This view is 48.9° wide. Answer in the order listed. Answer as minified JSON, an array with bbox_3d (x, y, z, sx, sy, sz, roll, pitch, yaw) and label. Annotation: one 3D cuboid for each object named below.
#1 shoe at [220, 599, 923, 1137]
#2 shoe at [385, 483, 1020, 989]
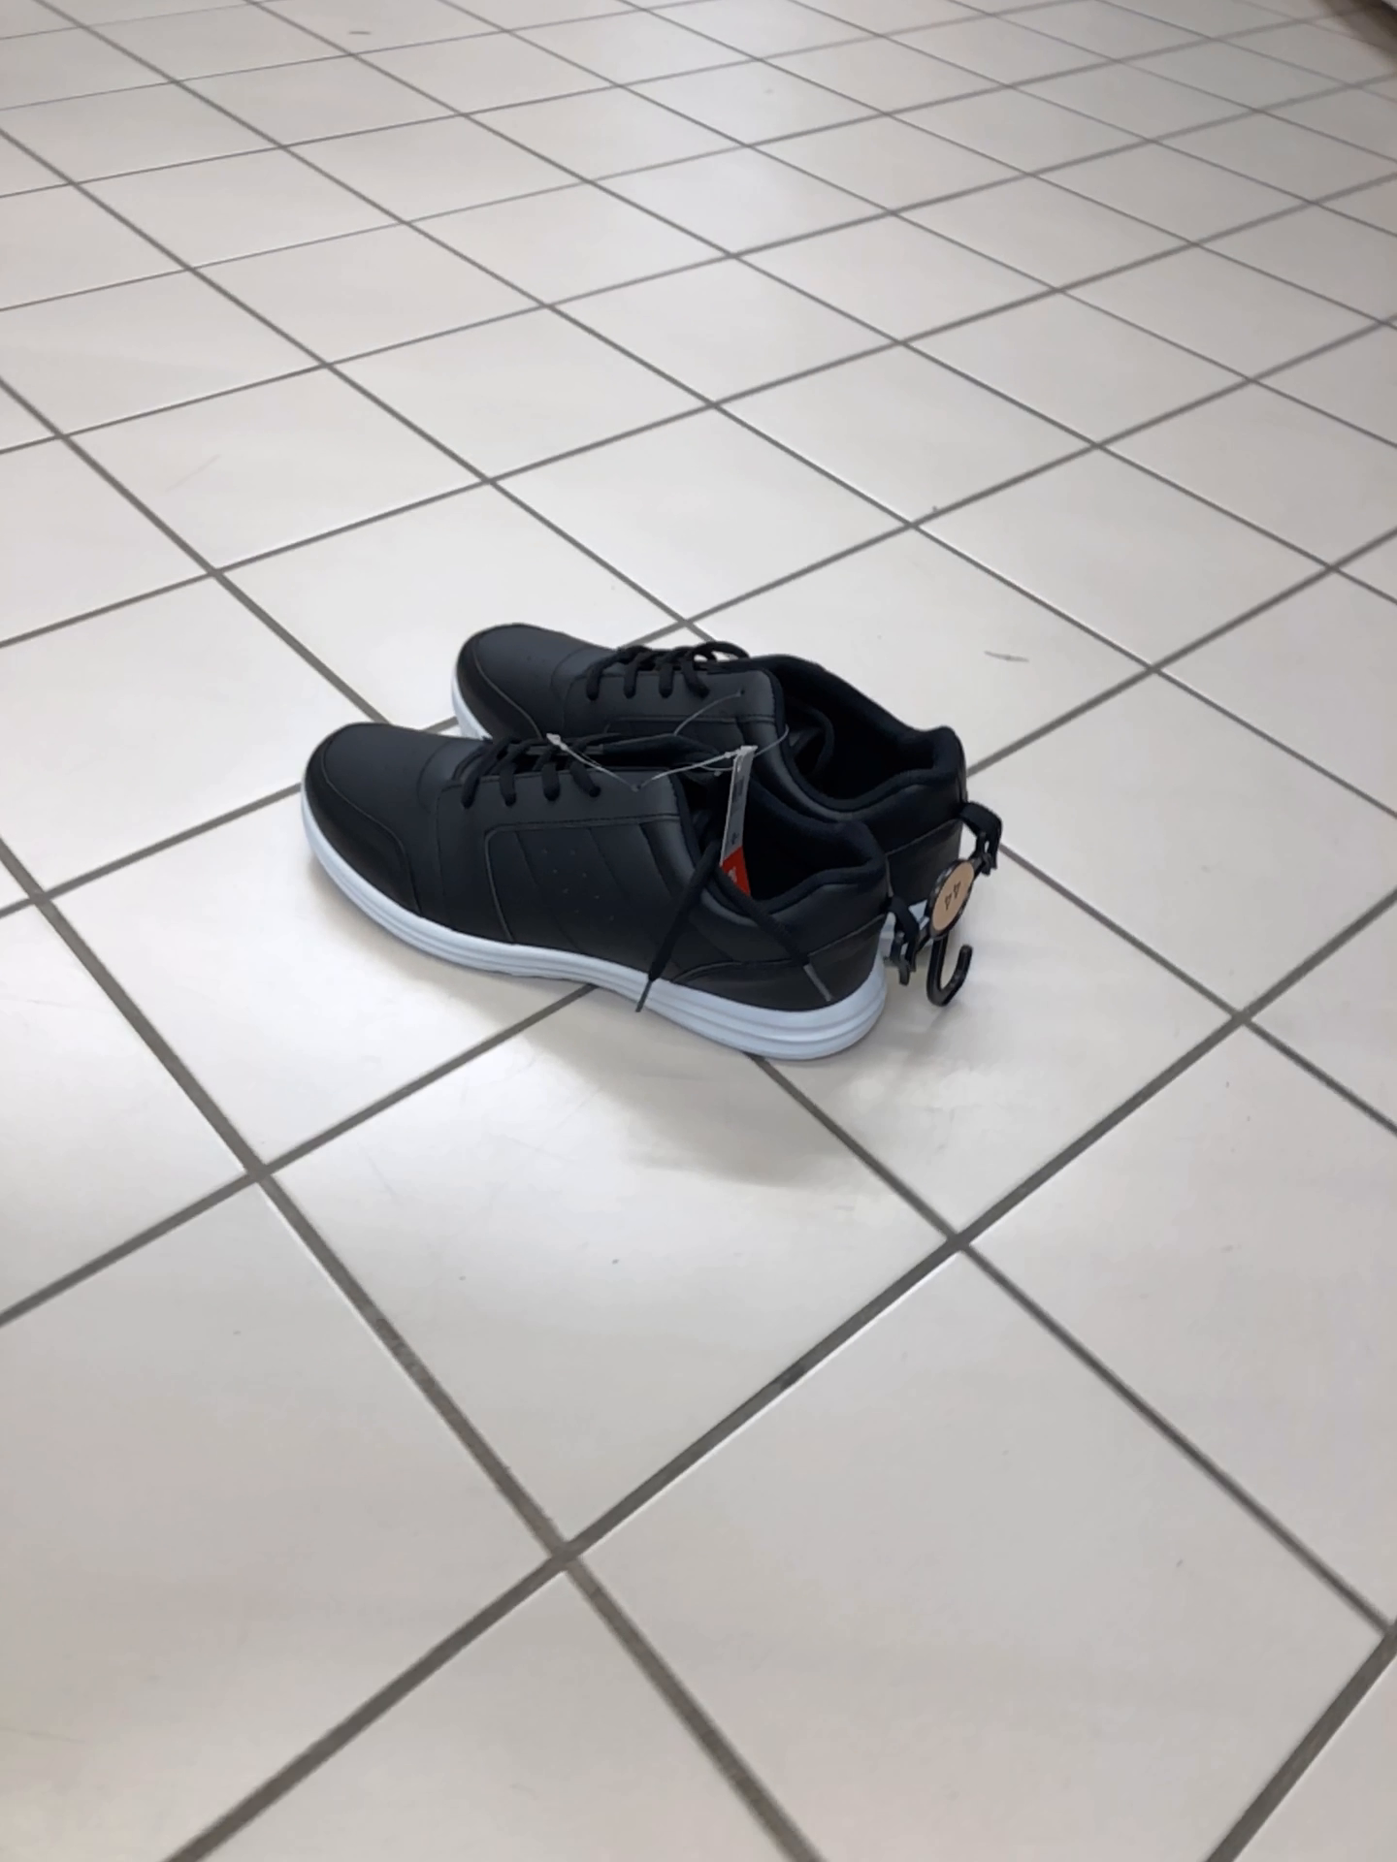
[{"bbox_3d":[-0.060,-0.035,0.716,0.290,0.119,0.111,21,46,15],"label":"shoe"},{"bbox_3d":[-0.005,-0.106,0.778,0.290,0.119,0.111,26,47,19],"label":"shoe"}]
